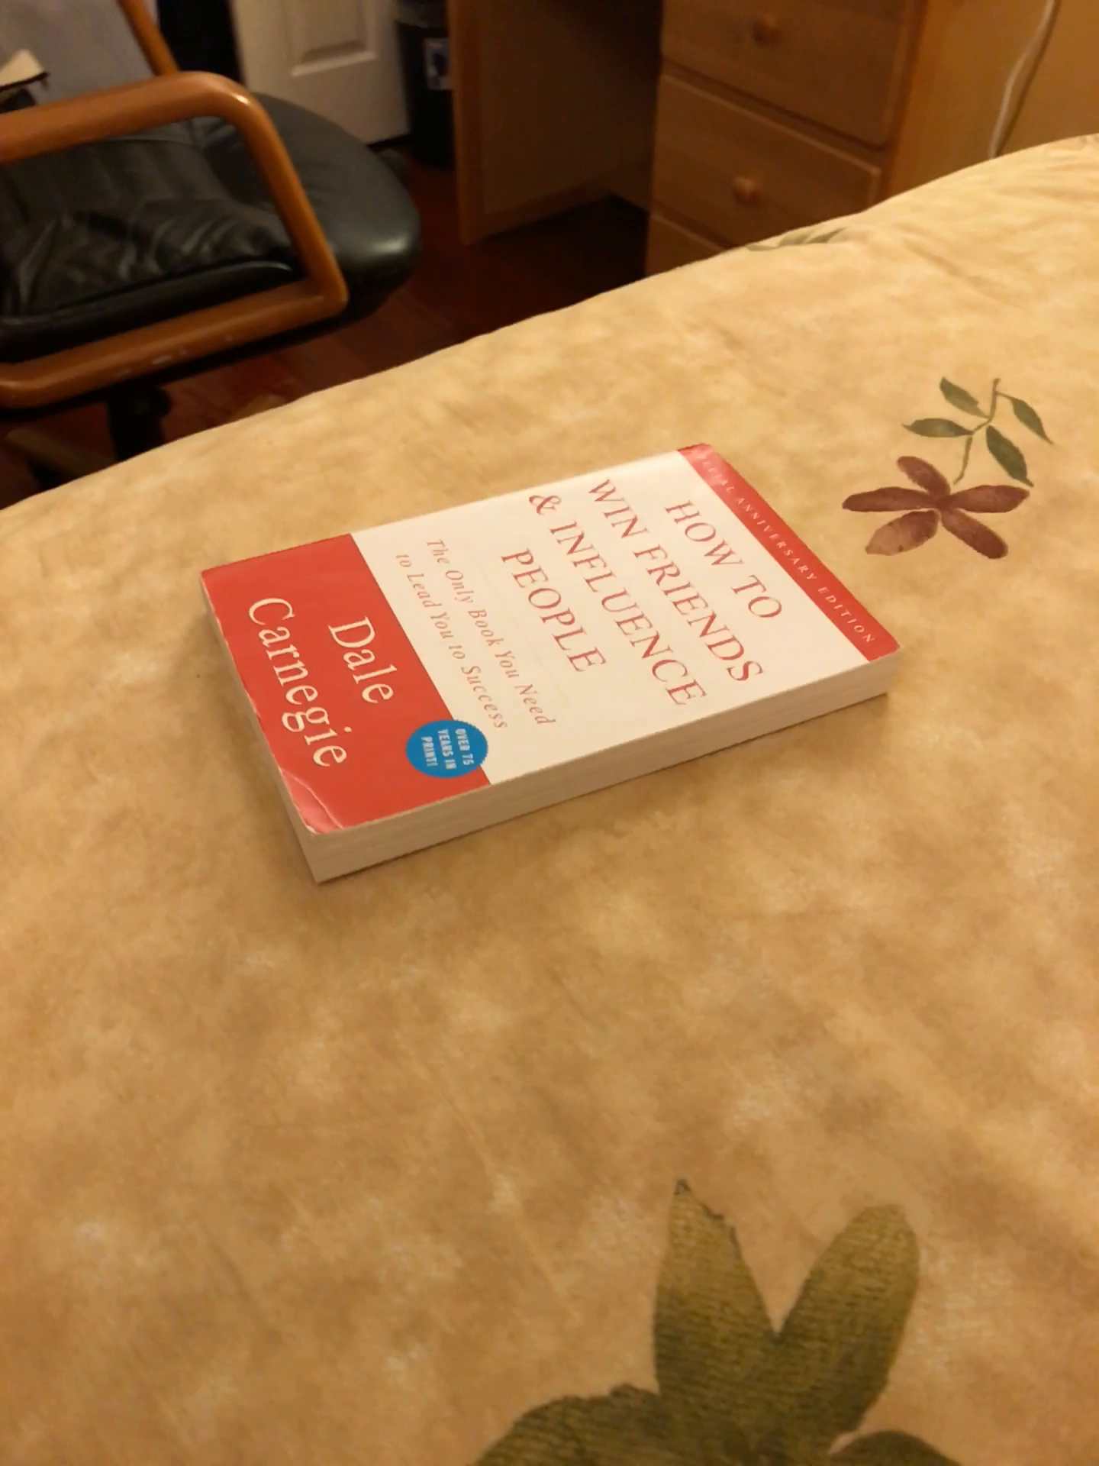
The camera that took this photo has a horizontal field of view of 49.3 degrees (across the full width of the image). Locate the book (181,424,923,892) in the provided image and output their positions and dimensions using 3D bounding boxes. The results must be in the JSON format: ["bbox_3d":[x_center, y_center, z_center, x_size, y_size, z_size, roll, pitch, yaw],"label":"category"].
[{"bbox_3d":[-0.003,-0.041,0.431,0.220,0.020,0.151,-18,49,-18],"label":"book"}]
